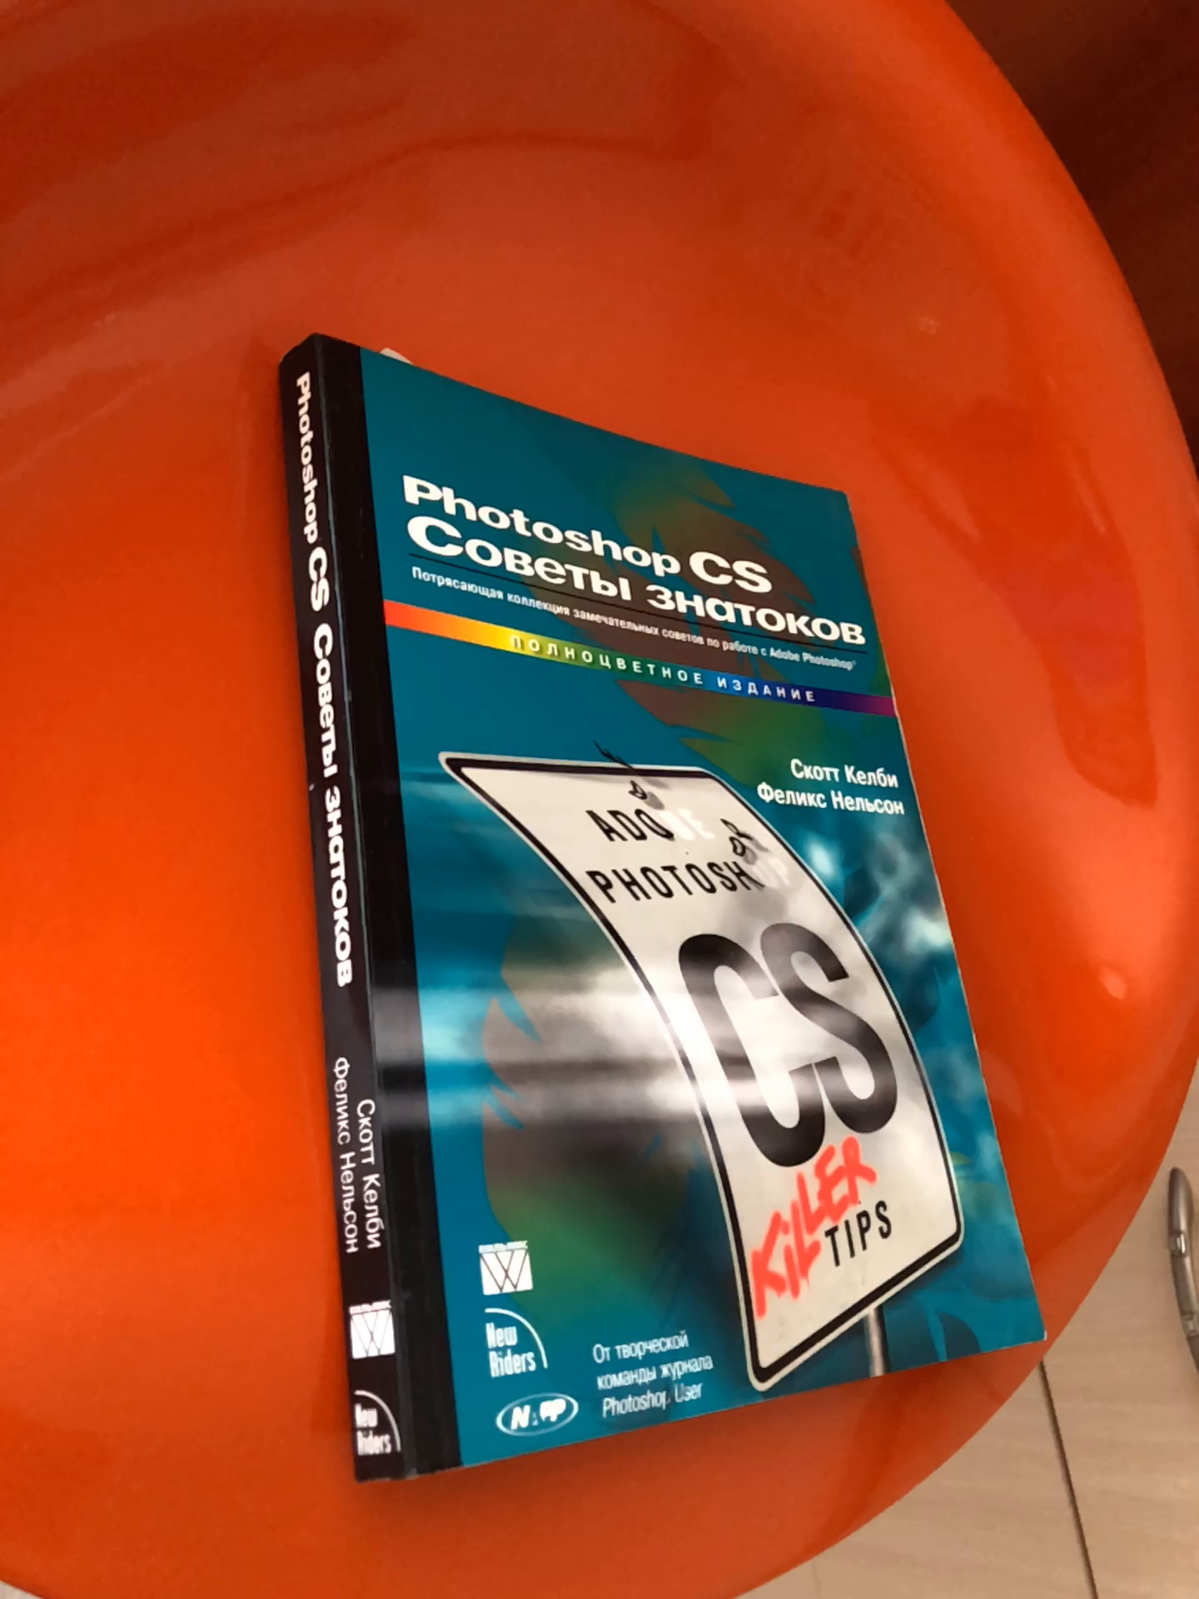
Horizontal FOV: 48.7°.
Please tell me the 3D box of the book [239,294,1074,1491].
[{"bbox_3d":[0.012,0.011,0.308,0.175,0.030,0.236,6,64,-35],"label":"book"}]
